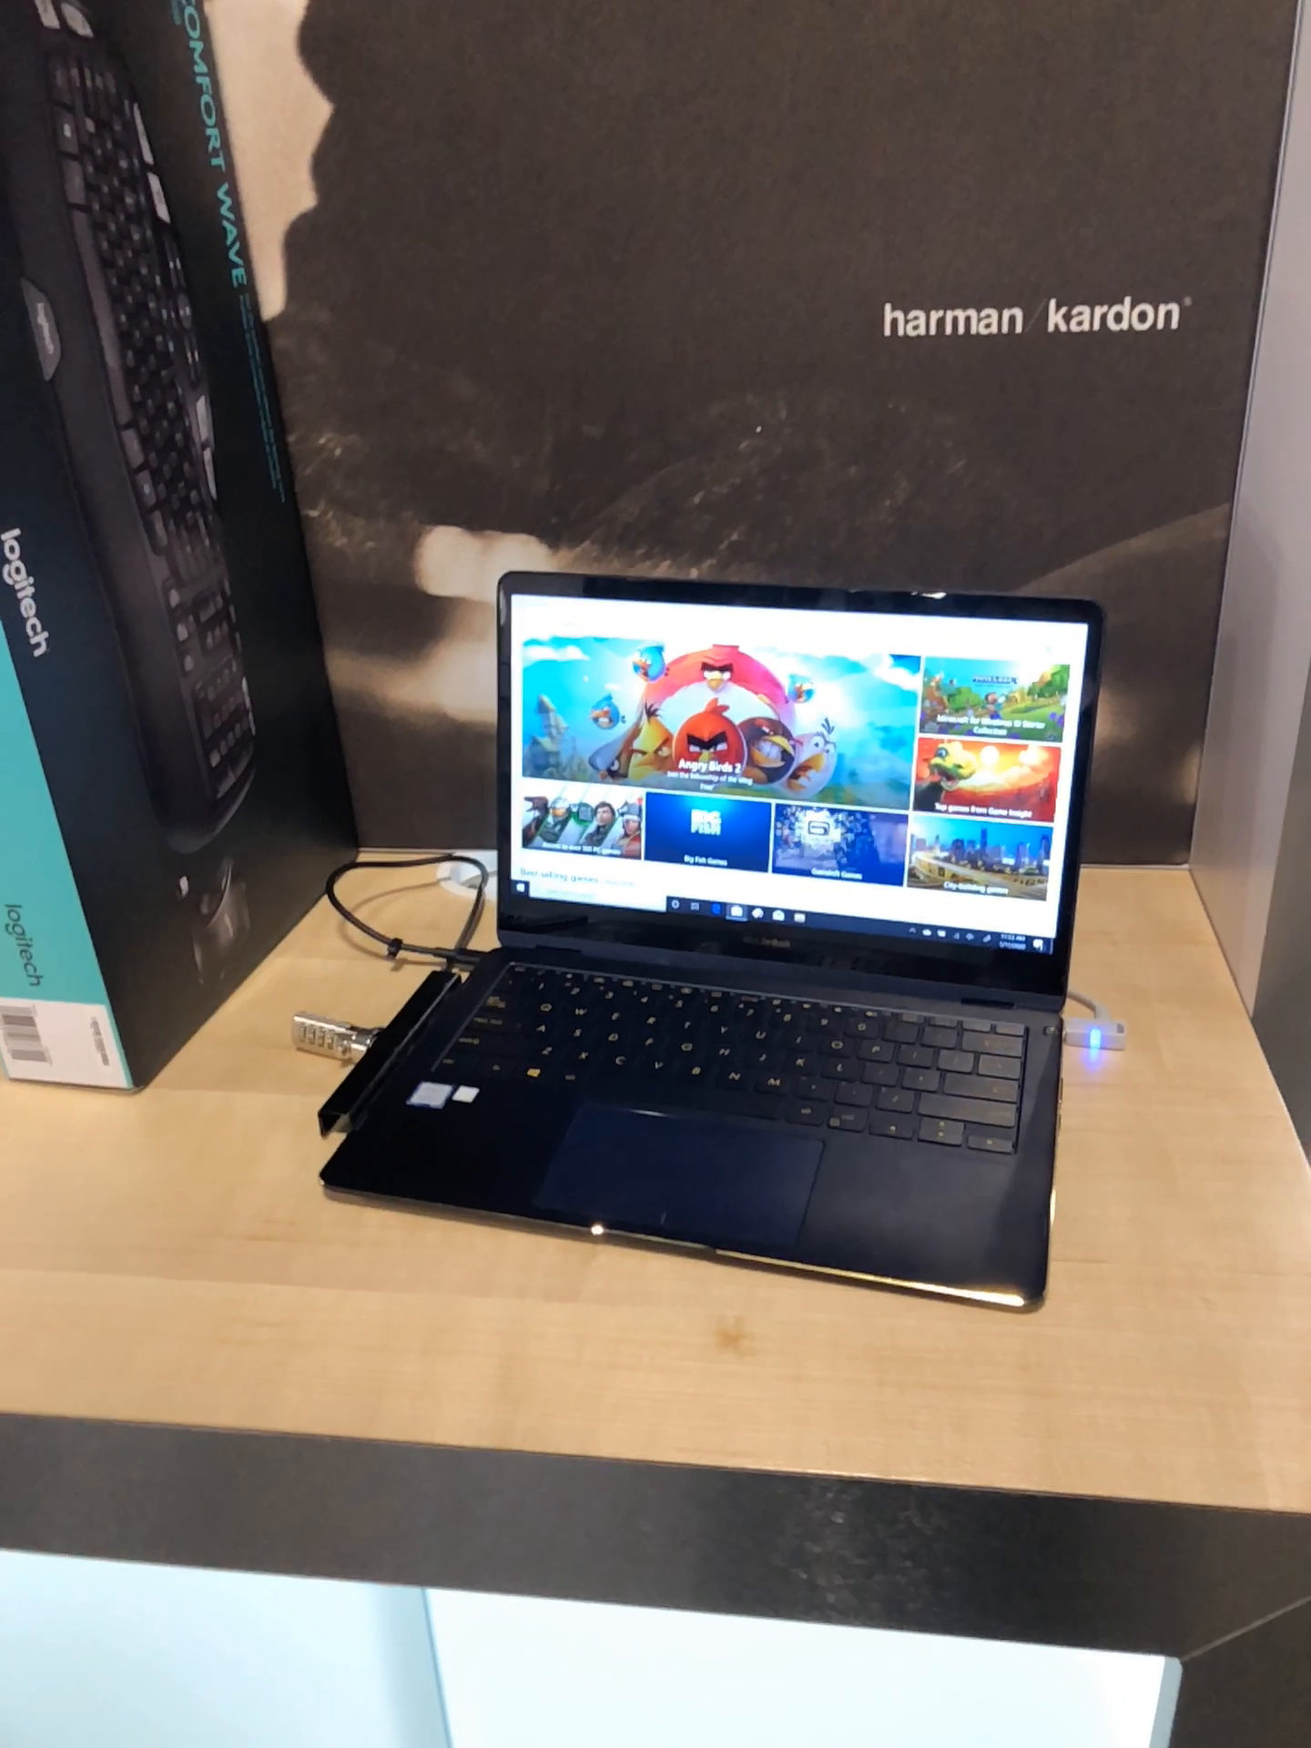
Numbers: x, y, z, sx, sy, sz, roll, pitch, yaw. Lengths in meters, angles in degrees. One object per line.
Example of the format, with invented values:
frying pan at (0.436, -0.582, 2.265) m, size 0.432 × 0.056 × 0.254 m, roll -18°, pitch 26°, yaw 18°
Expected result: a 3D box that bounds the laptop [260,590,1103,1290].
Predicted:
laptop at (0.035, 0.005, 0.640) m, size 0.291 × 0.190 × 0.249 m, roll 5°, pitch 27°, yaw 15°
